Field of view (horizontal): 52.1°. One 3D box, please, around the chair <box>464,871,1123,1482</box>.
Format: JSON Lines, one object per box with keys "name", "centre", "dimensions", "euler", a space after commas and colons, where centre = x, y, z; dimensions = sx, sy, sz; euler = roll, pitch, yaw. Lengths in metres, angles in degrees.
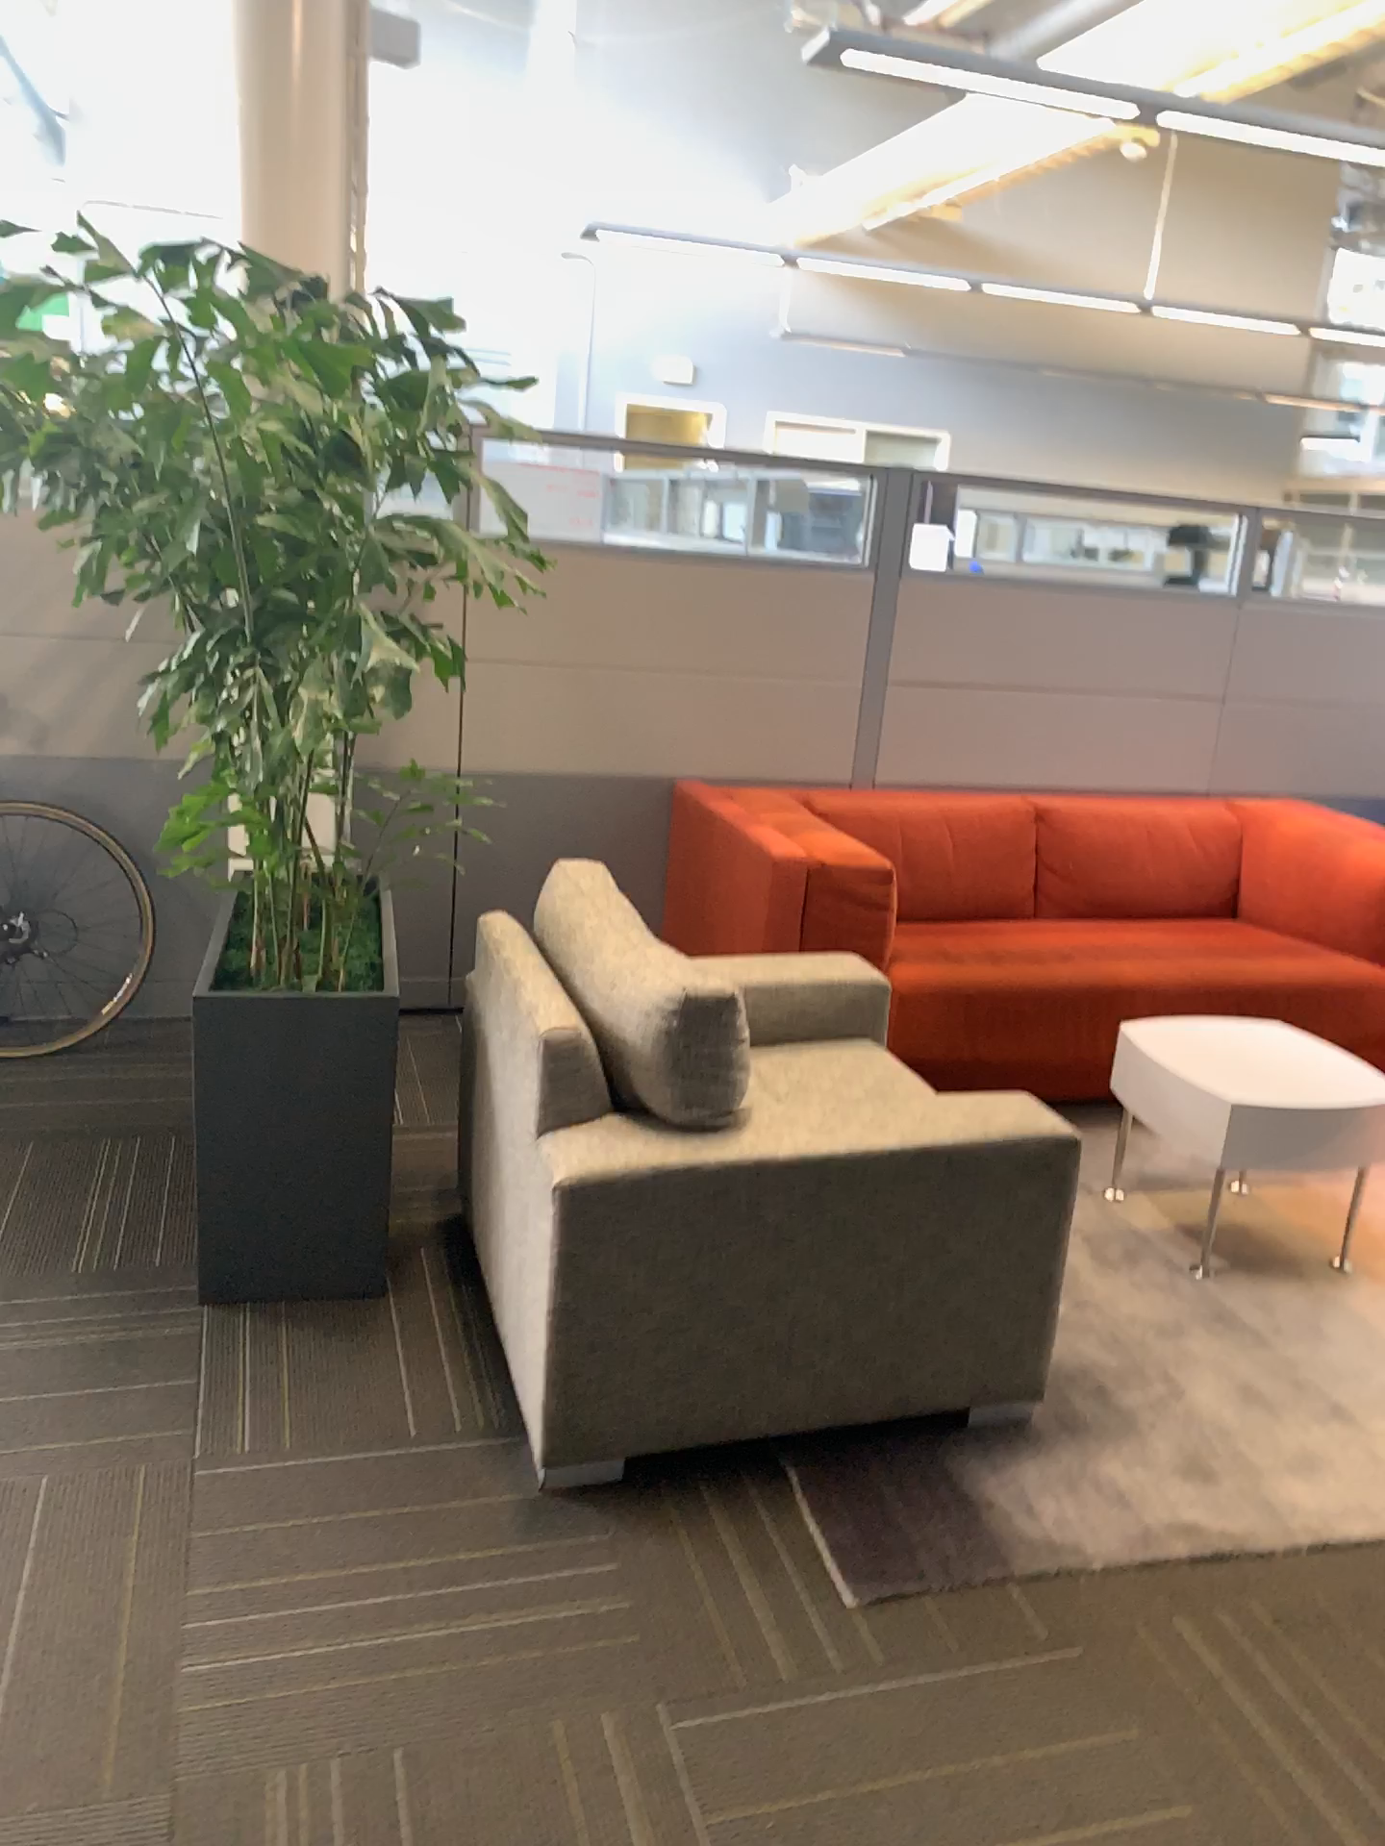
{"name": "chair", "centre": [0.103, 0.373, 2.644], "dimensions": [0.870, 0.727, 0.924], "euler": [-1, 16, -19]}
